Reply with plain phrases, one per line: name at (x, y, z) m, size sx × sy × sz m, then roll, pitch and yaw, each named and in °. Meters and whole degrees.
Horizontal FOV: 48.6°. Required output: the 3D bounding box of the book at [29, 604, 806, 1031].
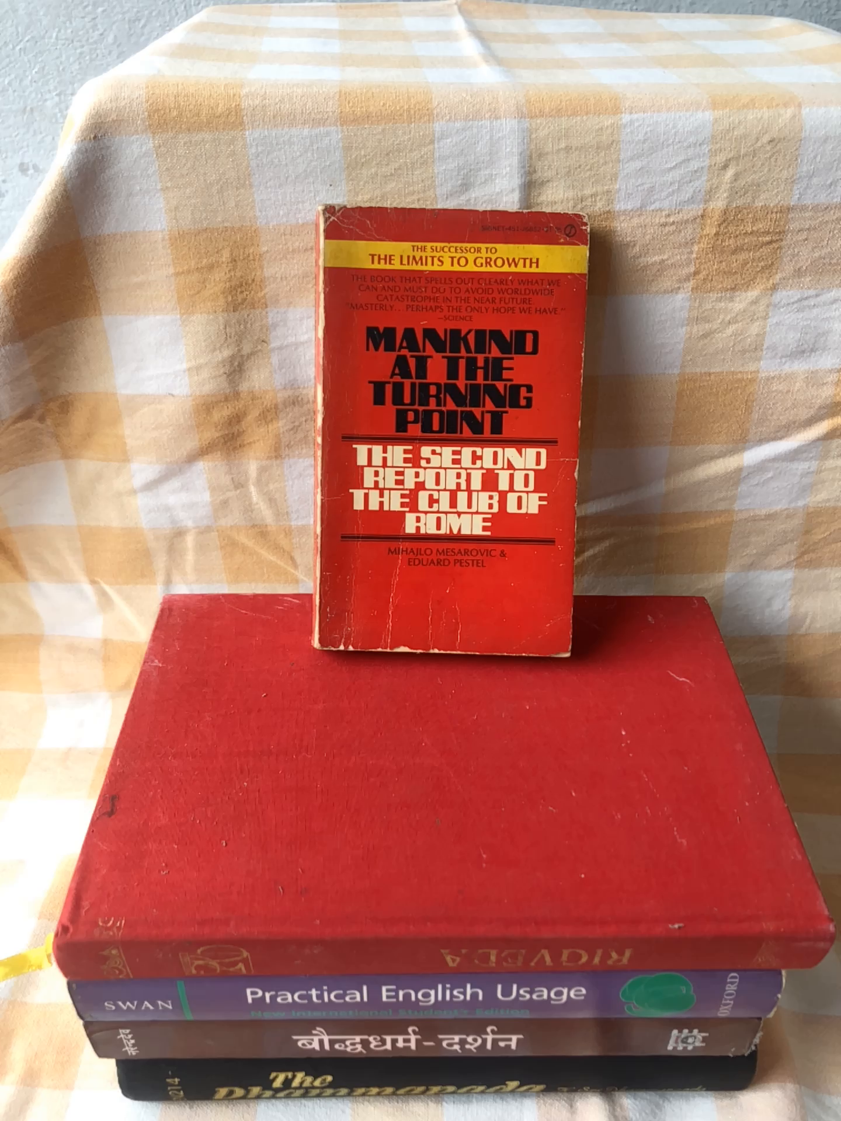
book at (-0.001, 0.100, 0.411) m, size 0.270 × 0.040 × 0.191 m, roll -2°, pitch 37°, yaw 2°

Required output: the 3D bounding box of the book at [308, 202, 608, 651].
book at (0.012, -0.052, 0.379) m, size 0.110 × 0.170 × 0.040 m, roll 1°, pitch 12°, yaw 0°

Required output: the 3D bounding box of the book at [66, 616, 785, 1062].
book at (0.002, 0.105, 0.398) m, size 0.240 × 0.040 × 0.191 m, roll -2°, pitch 37°, yaw 2°

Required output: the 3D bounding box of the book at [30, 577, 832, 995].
book at (0.004, 0.087, 0.412) m, size 0.280 × 0.040 × 0.191 m, roll -2°, pitch 37°, yaw 2°
